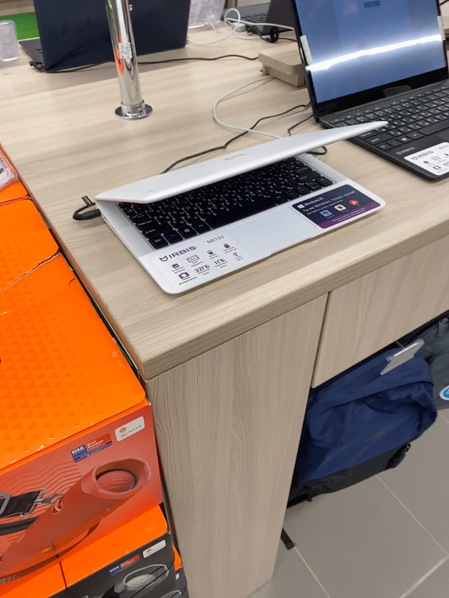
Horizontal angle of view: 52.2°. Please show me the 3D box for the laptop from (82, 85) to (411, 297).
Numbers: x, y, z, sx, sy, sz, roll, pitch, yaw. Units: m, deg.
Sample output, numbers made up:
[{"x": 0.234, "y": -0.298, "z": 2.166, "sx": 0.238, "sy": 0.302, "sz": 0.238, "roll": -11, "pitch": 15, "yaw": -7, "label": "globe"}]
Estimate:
[{"x": 0.022, "y": -0.134, "z": 0.488, "sx": 0.280, "sy": 0.078, "sz": 0.179, "roll": -23, "pitch": 49, "yaw": -23, "label": "laptop"}]
